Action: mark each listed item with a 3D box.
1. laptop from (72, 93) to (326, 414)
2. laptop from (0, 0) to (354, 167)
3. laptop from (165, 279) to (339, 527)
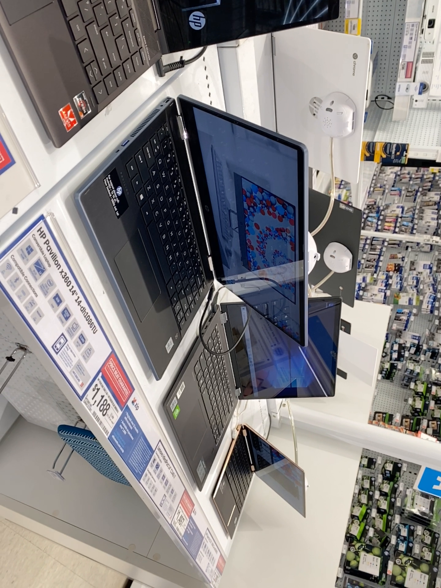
[{"bbox_3d":[0.010,-0.045,0.562,0.314,0.189,0.211,78,31,-46],"label":"laptop"},{"bbox_3d":[-0.030,-0.337,0.339,0.327,0.173,0.324,76,34,-44],"label":"laptop"},{"bbox_3d":[0.086,0.199,0.849,0.307,0.199,0.294,78,31,-43],"label":"laptop"}]
